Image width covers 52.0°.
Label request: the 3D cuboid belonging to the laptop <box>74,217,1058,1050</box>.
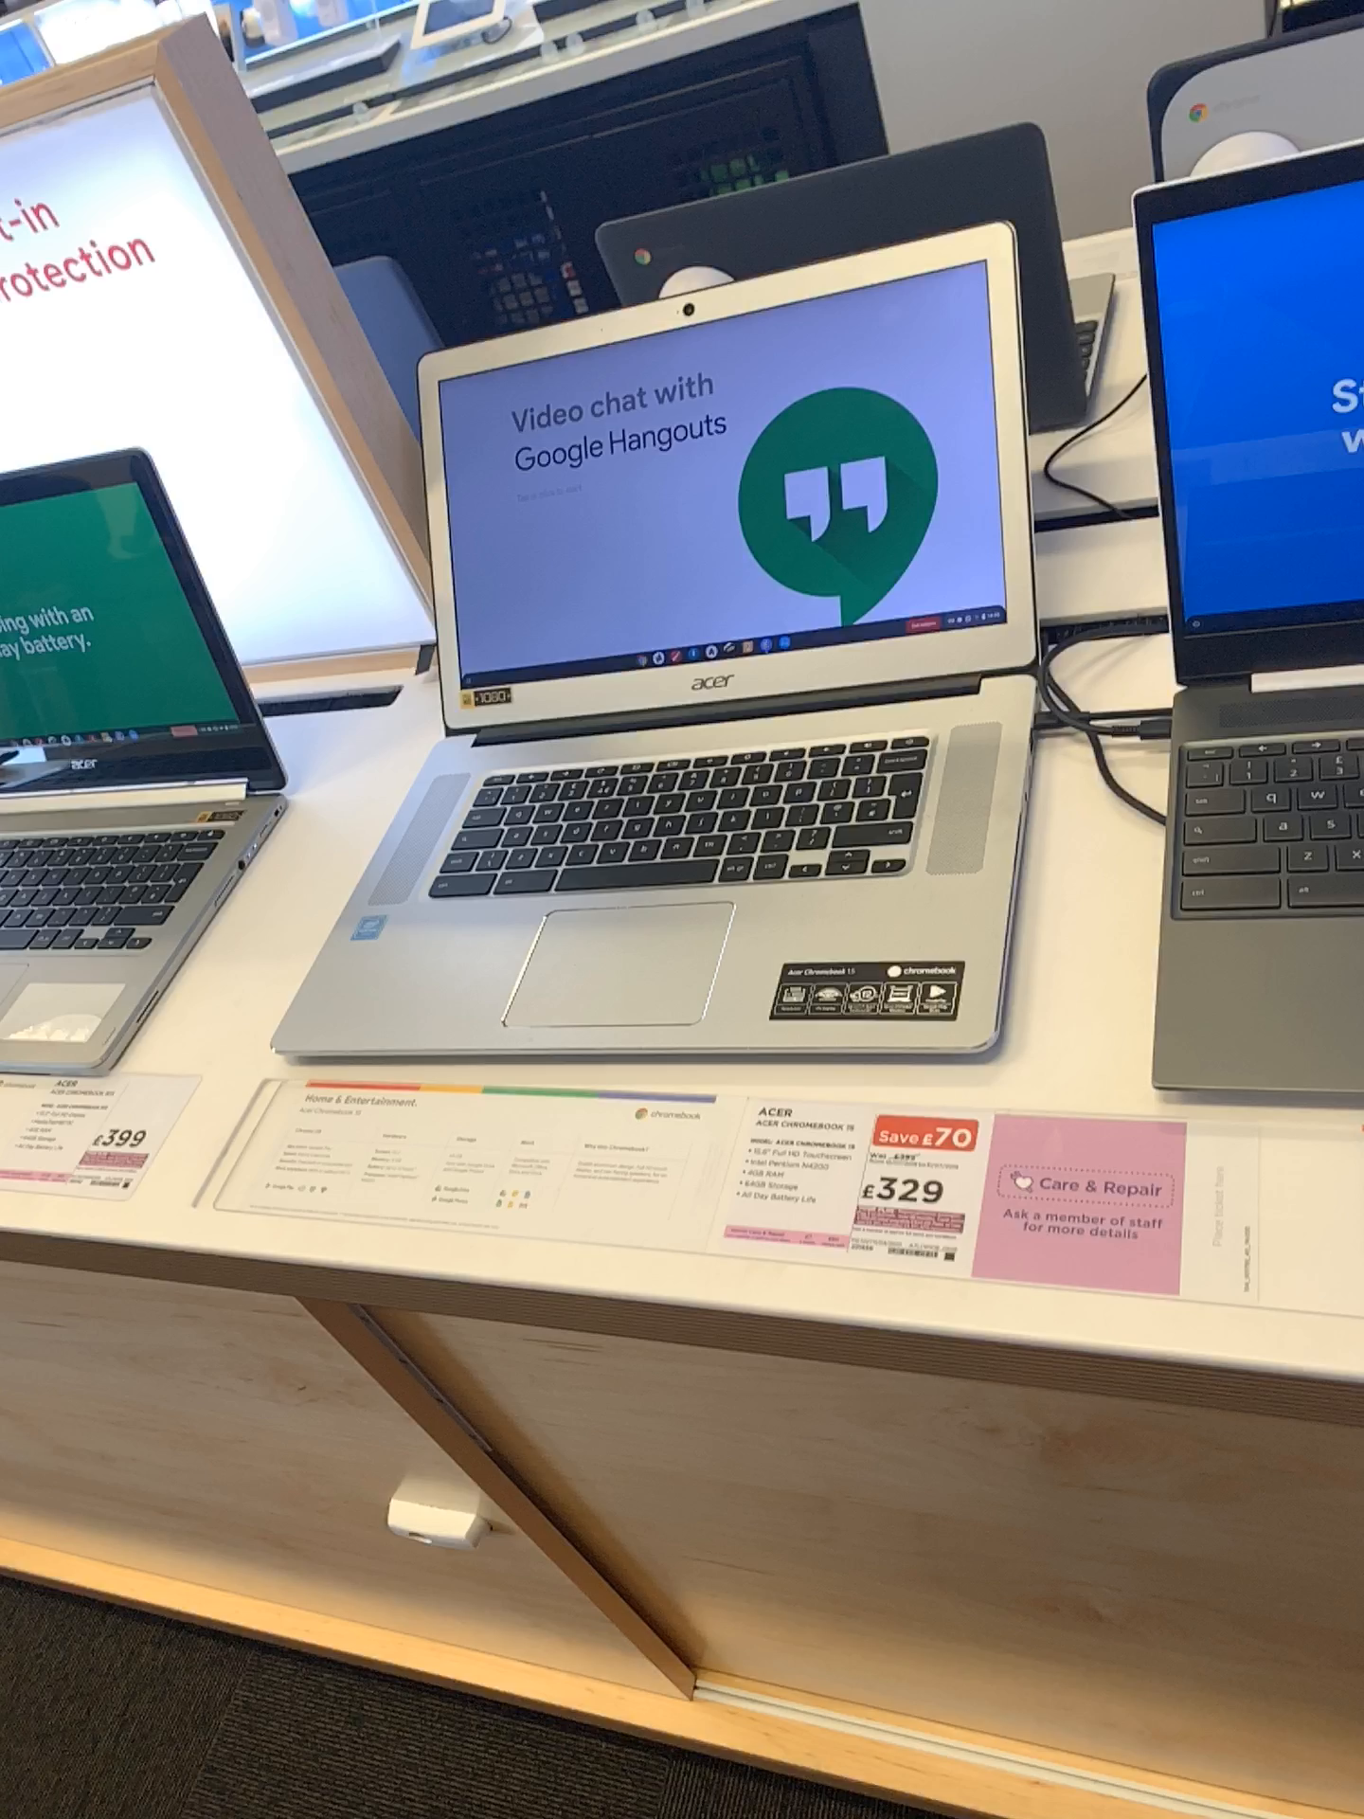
[{"bbox_3d":[-0.018,-0.151,0.742,0.375,0.168,0.433,-3,45,23],"label":"laptop"}]
